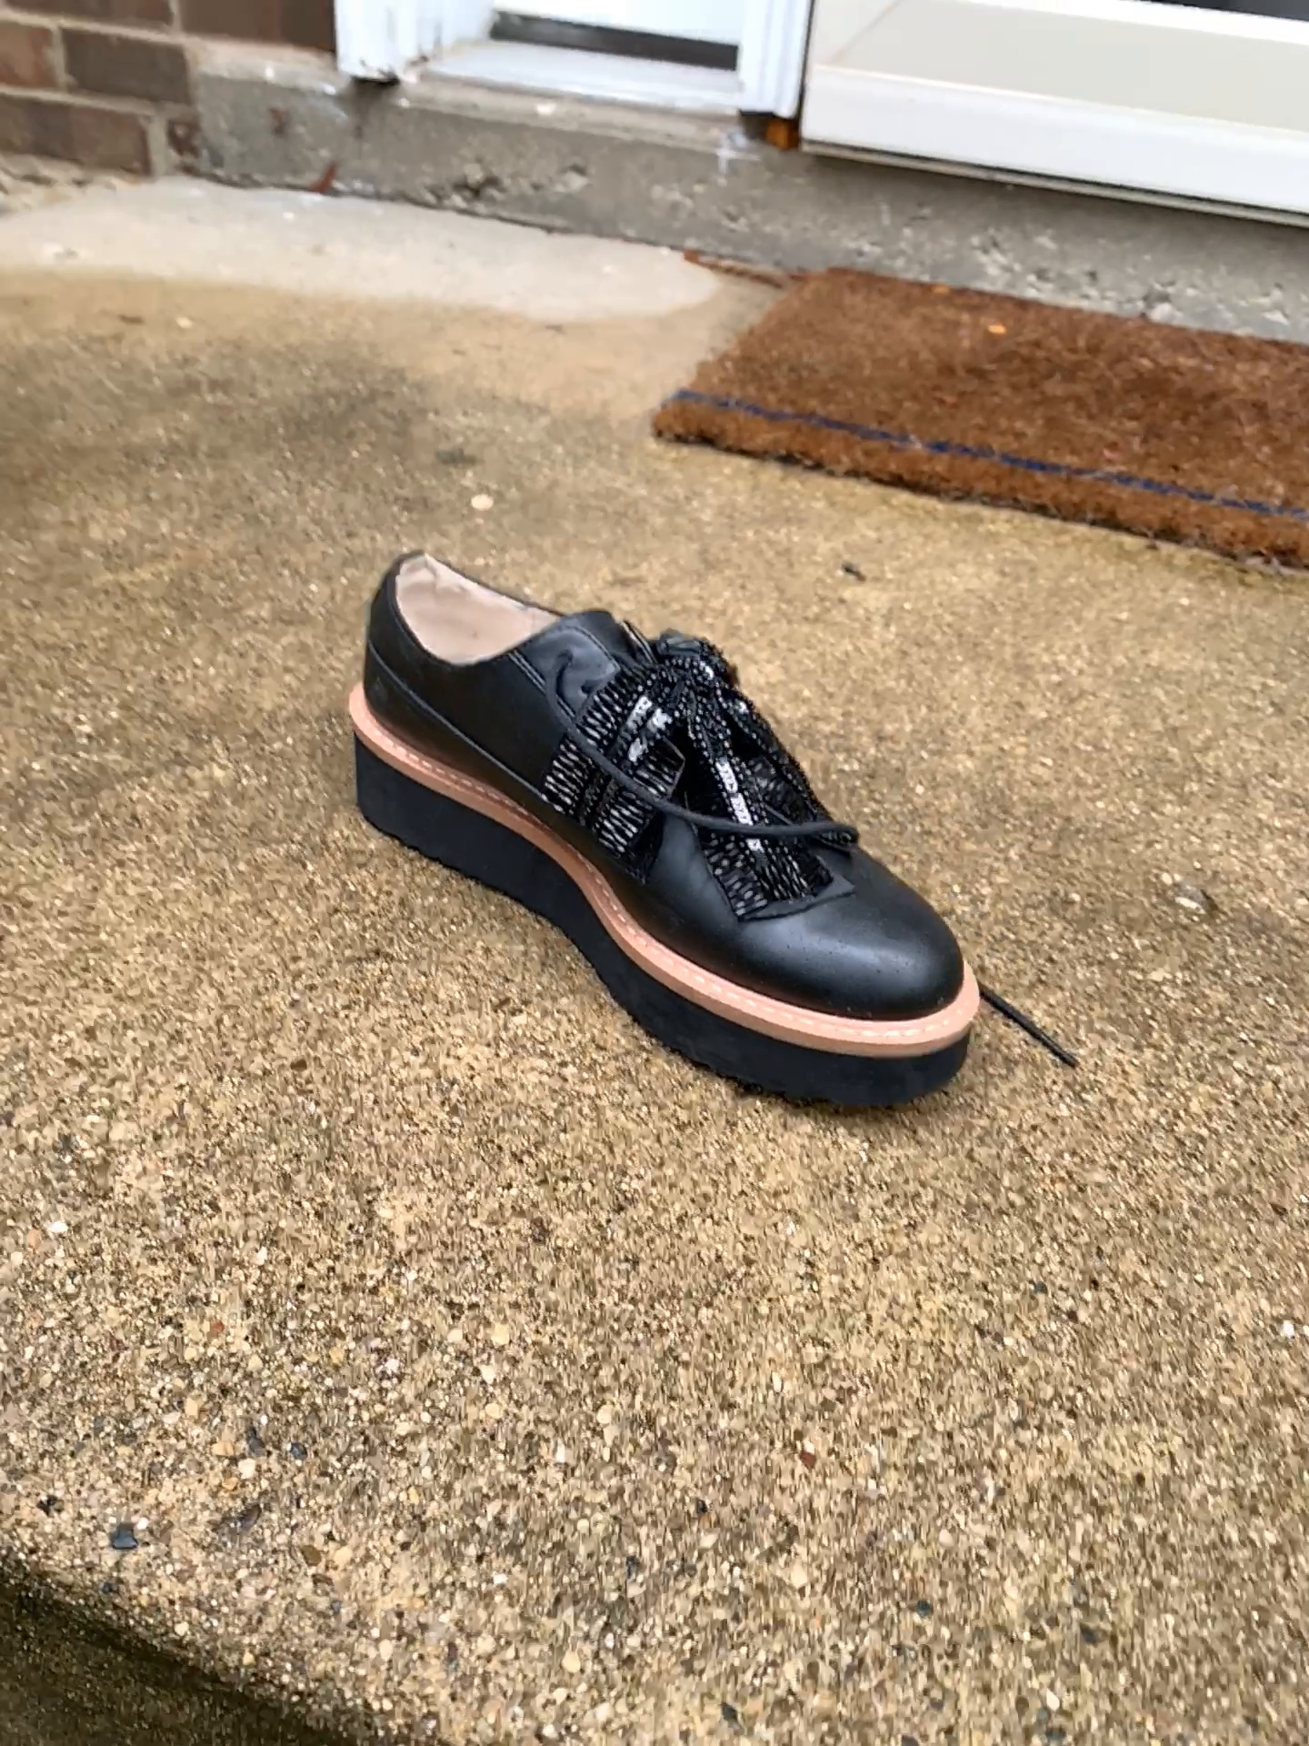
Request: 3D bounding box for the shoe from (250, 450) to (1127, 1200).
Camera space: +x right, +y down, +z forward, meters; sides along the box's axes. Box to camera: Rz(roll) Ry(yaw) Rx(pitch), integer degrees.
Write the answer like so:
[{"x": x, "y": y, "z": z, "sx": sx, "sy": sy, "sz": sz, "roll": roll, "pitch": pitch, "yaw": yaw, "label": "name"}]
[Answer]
[{"x": -0.003, "y": -0.032, "z": 0.448, "sx": 0.258, "sy": 0.120, "sz": 0.106, "roll": 29, "pitch": 42, "yaw": 28, "label": "shoe"}]
